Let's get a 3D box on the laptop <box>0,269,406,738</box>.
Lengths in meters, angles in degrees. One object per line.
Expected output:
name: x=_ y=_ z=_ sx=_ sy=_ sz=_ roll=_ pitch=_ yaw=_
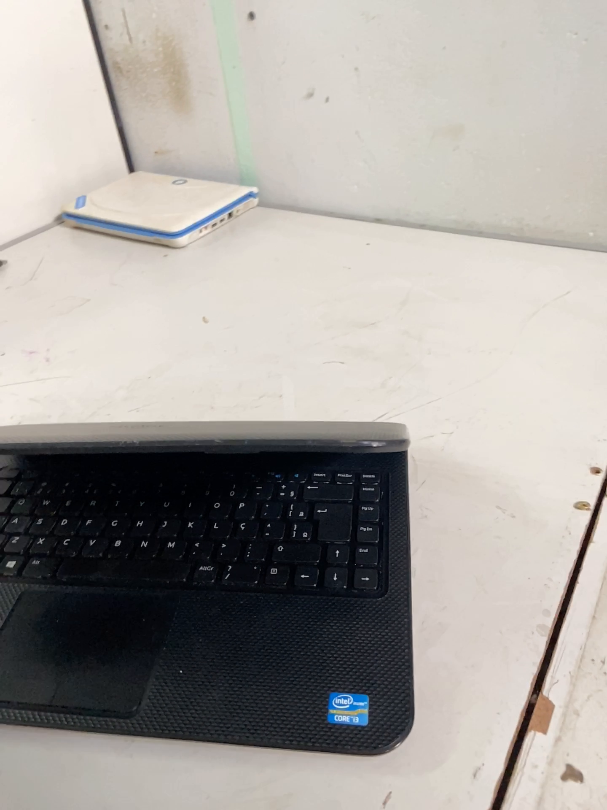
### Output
laptop: x=-0.106 y=0.039 z=0.380 sx=0.330 sy=0.141 sz=0.231 roll=0 pitch=37 yaw=9
